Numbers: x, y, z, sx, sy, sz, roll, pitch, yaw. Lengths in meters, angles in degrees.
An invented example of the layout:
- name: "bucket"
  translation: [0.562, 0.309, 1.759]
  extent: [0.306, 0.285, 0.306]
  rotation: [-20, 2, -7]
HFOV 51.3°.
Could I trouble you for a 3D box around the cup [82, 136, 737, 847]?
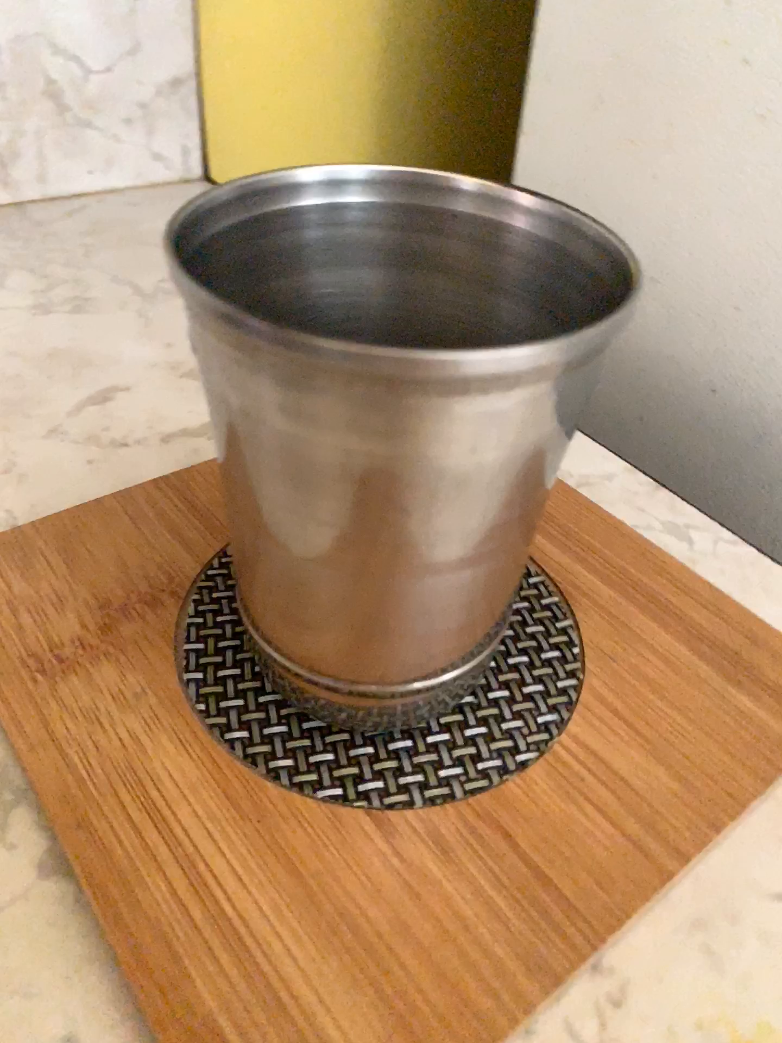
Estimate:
- name: "cup"
  translation: [-0.001, -0.010, 0.152]
  extent: [0.071, 0.091, 0.073]
  rotation: [2, 39, -2]
